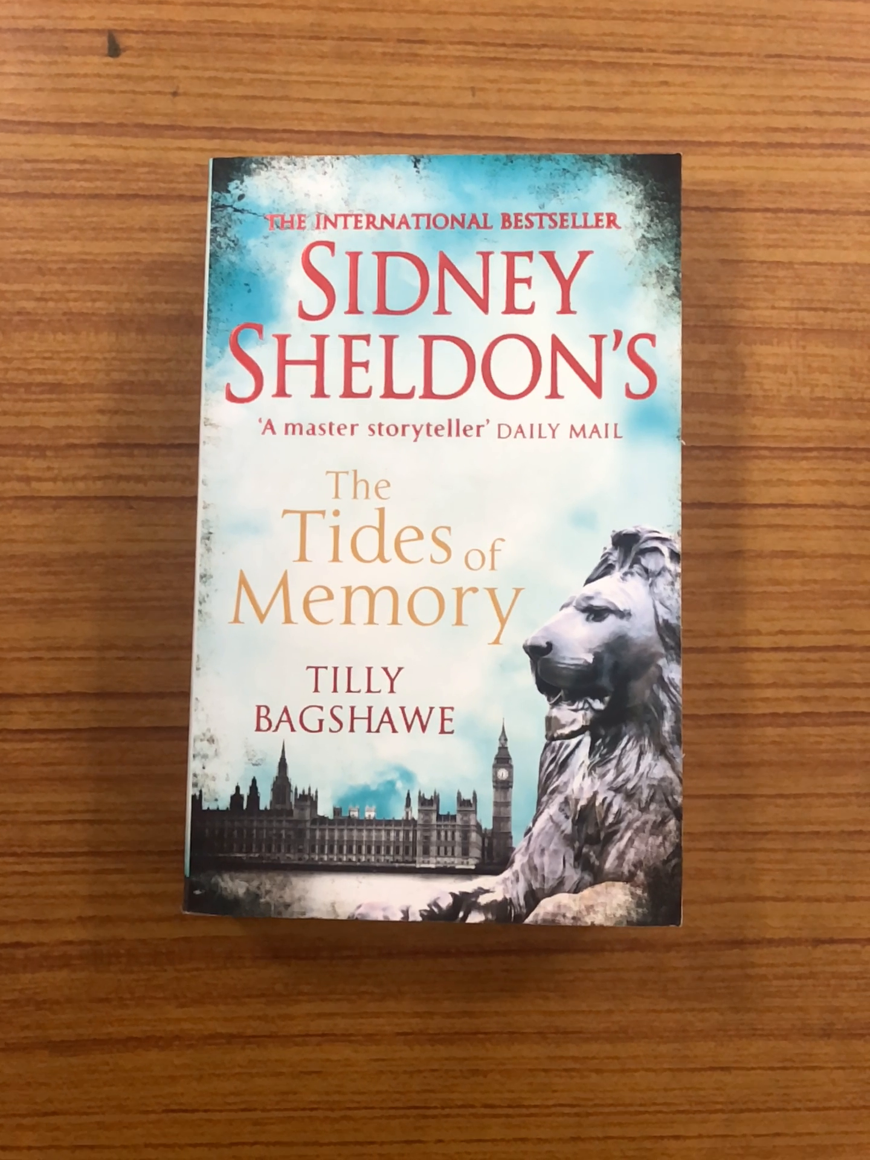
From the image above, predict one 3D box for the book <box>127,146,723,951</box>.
[{"bbox_3d":[0.000,-0.009,0.225,0.122,0.038,0.168,1,86,2],"label":"book"}]
